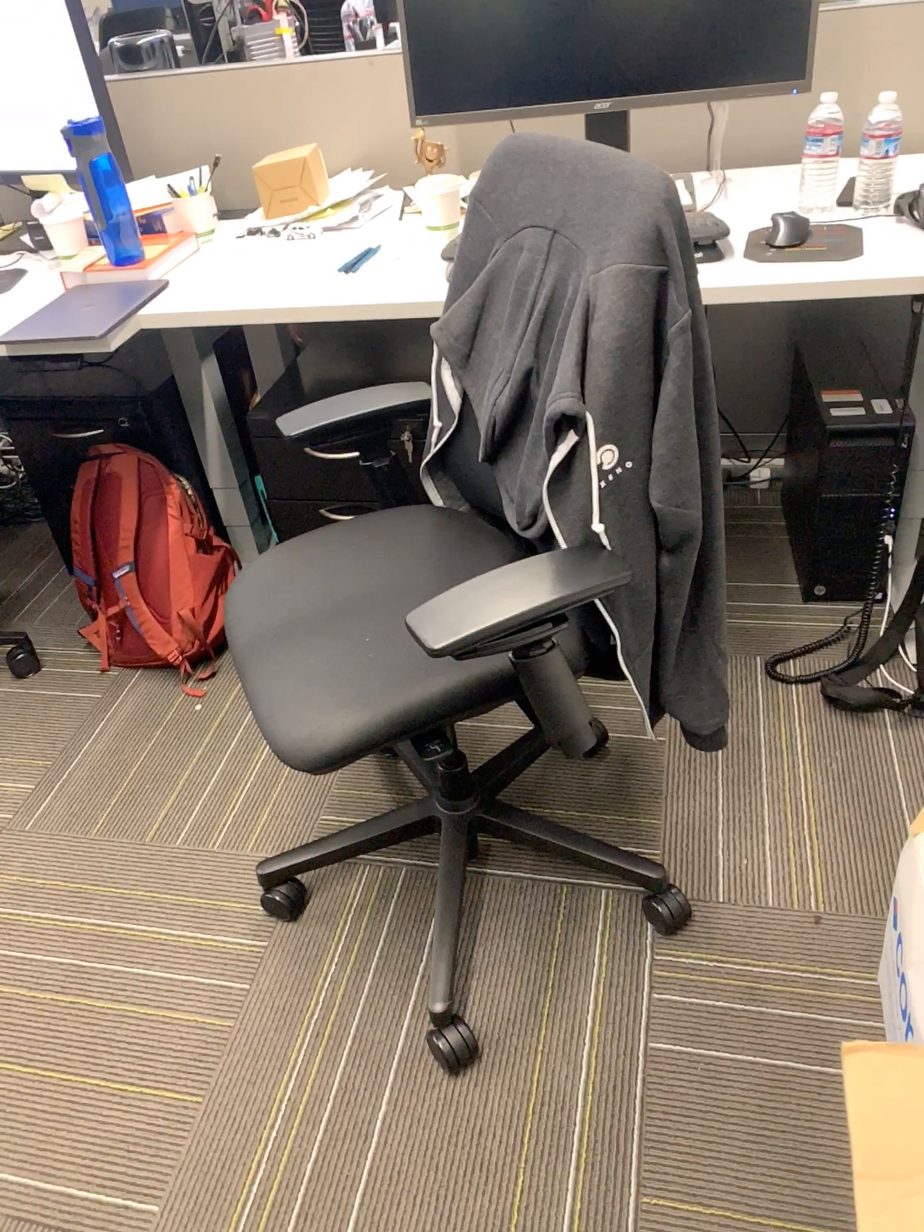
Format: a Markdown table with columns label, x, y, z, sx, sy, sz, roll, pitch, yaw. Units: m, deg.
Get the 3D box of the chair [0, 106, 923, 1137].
| label | x | y | z | sx | sy | sz | roll | pitch | yaw |
| --- | --- | --- | --- | --- | --- | --- | --- | --- | --- |
| chair | -0.003 | -0.040 | 1.299 | 0.800 | 0.994 | 0.684 | -23 | 39 | -19 |
